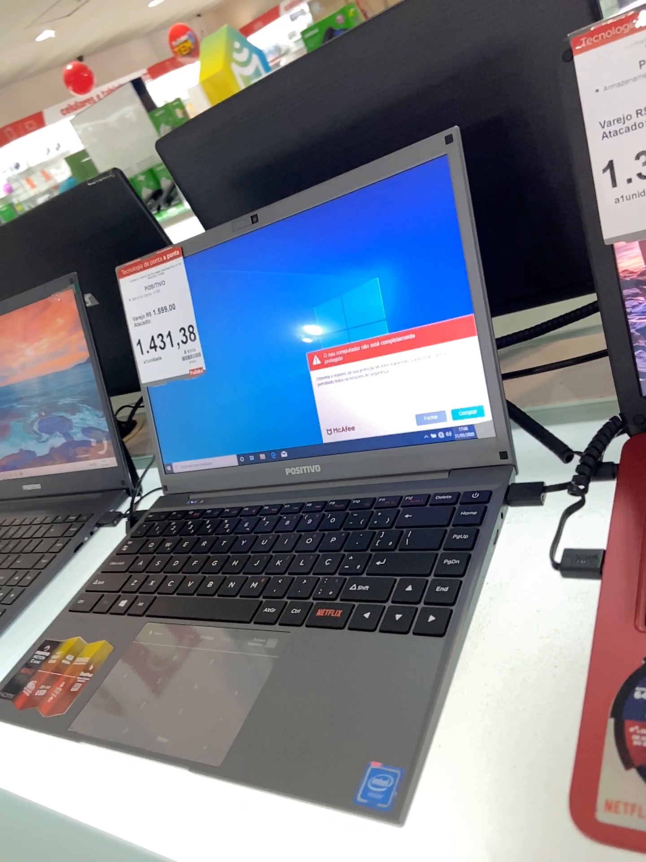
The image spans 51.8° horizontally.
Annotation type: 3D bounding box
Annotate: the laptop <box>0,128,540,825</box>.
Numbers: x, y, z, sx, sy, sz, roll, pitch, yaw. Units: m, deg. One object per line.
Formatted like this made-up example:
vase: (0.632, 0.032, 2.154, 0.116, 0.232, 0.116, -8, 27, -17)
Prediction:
laptop: (-0.079, 0.005, 0.430, 0.330, 0.183, 0.320, -8, 33, 35)
